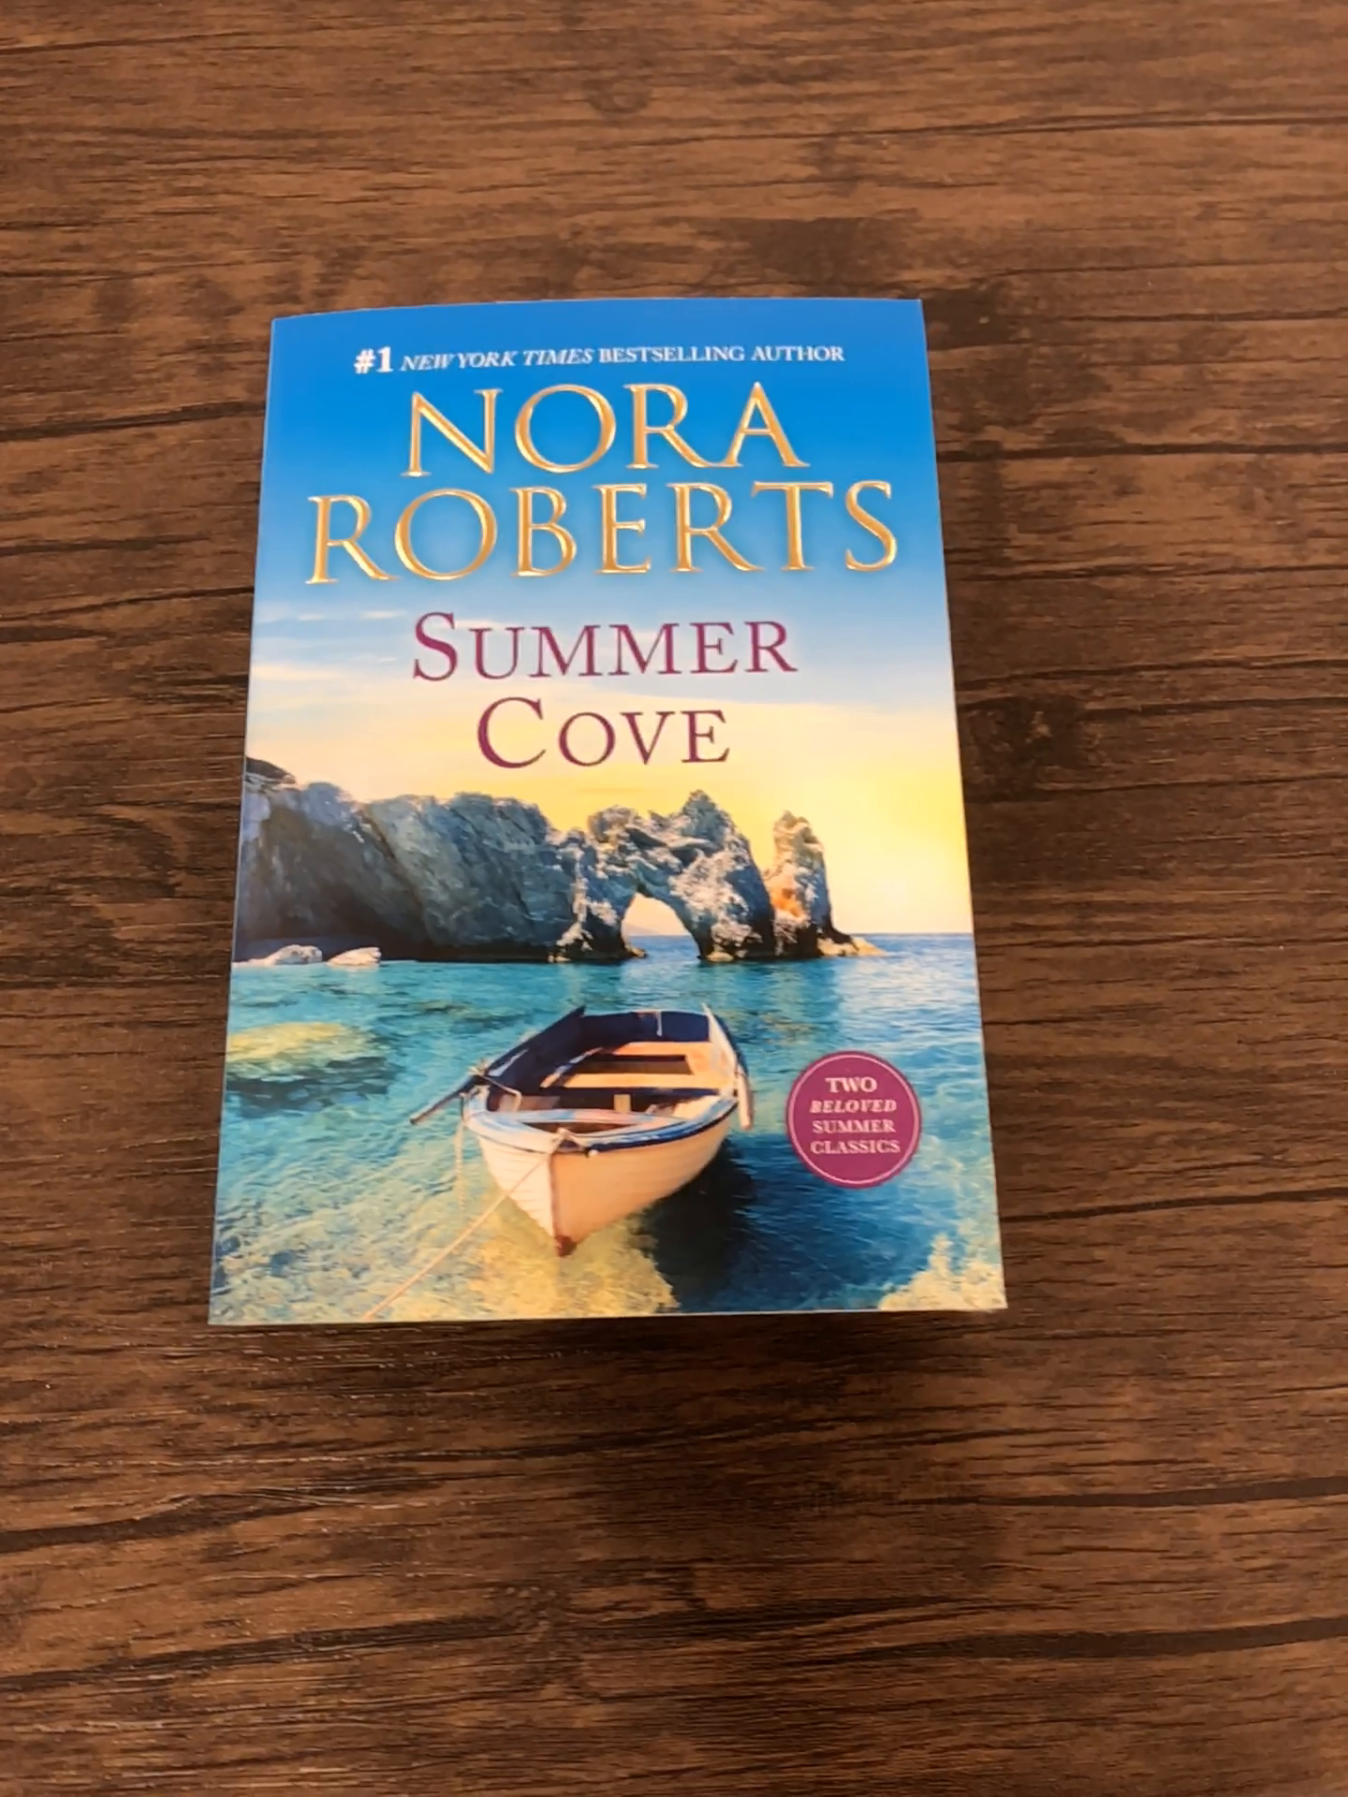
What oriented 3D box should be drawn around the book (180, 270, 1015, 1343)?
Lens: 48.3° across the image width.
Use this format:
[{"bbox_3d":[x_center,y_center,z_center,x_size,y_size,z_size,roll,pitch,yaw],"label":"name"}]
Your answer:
[{"bbox_3d":[-0.016,-0.023,0.303,0.140,0.043,0.210,-2,73,-2],"label":"book"}]
